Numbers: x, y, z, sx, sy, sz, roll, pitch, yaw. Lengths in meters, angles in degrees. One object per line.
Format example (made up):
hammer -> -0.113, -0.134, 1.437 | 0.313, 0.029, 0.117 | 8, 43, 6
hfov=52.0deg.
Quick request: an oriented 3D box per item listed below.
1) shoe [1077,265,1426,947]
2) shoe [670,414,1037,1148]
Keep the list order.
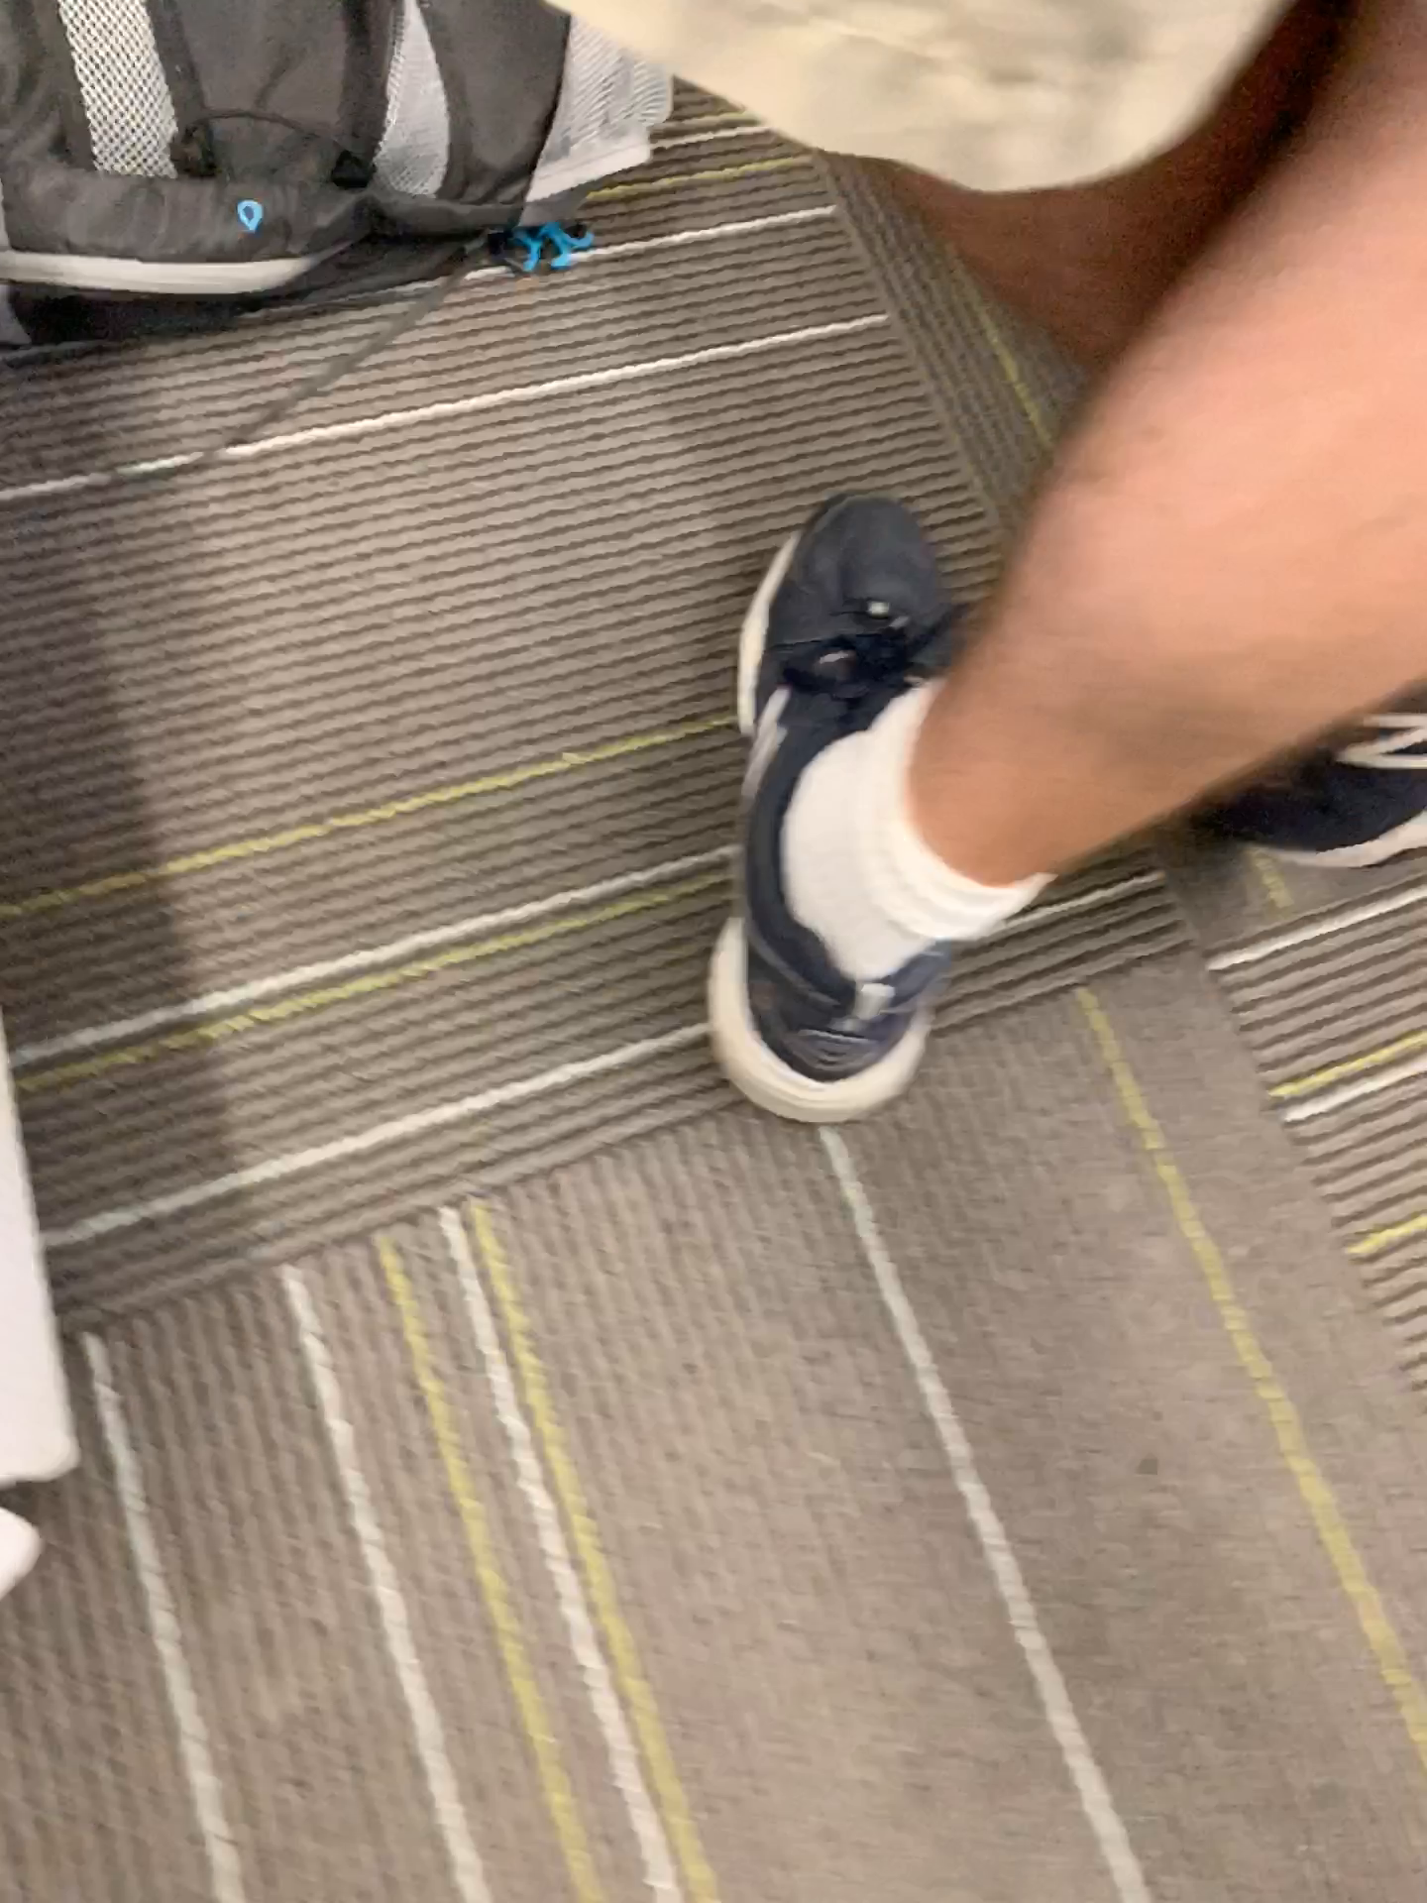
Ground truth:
shoe -> 0.272, -0.111, 0.595 | 0.129, 0.293, 0.122 | 5, 71, -10
shoe -> 0.064, -0.077, 0.634 | 0.120, 0.077, 0.297 | 9, 69, -6
